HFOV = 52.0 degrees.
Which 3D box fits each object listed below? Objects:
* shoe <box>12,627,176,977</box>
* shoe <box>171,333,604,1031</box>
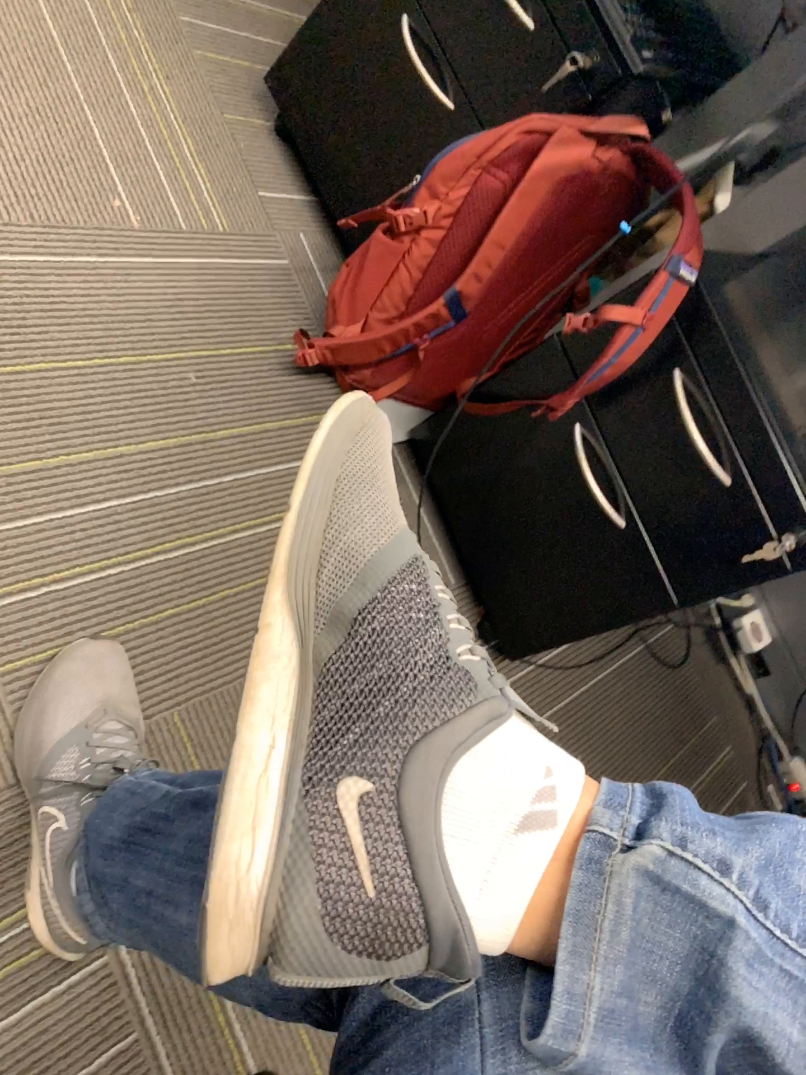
[{"bbox_3d":[-0.295,0.237,0.783,0.117,0.074,0.293,7,66,-41],"label":"shoe"},{"bbox_3d":[0.002,0.056,0.399,0.142,0.115,0.295,8,55,-3],"label":"shoe"}]
